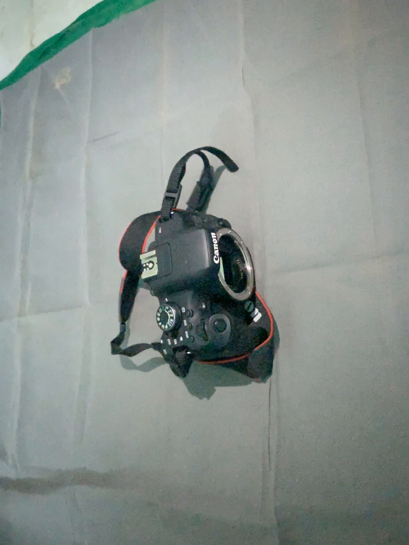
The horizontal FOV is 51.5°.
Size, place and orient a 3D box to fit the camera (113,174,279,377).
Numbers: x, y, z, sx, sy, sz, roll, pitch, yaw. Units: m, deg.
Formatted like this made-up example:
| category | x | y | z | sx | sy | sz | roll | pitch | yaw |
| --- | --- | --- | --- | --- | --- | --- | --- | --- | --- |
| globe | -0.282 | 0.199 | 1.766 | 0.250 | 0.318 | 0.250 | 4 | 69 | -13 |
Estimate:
| category | x | y | z | sx | sy | sz | roll | pitch | yaw |
| --- | --- | --- | --- | --- | --- | --- | --- | --- | --- |
| camera | -0.008 | 0.012 | 0.342 | 0.090 | 0.088 | 0.132 | -15 | 71 | 28 |
